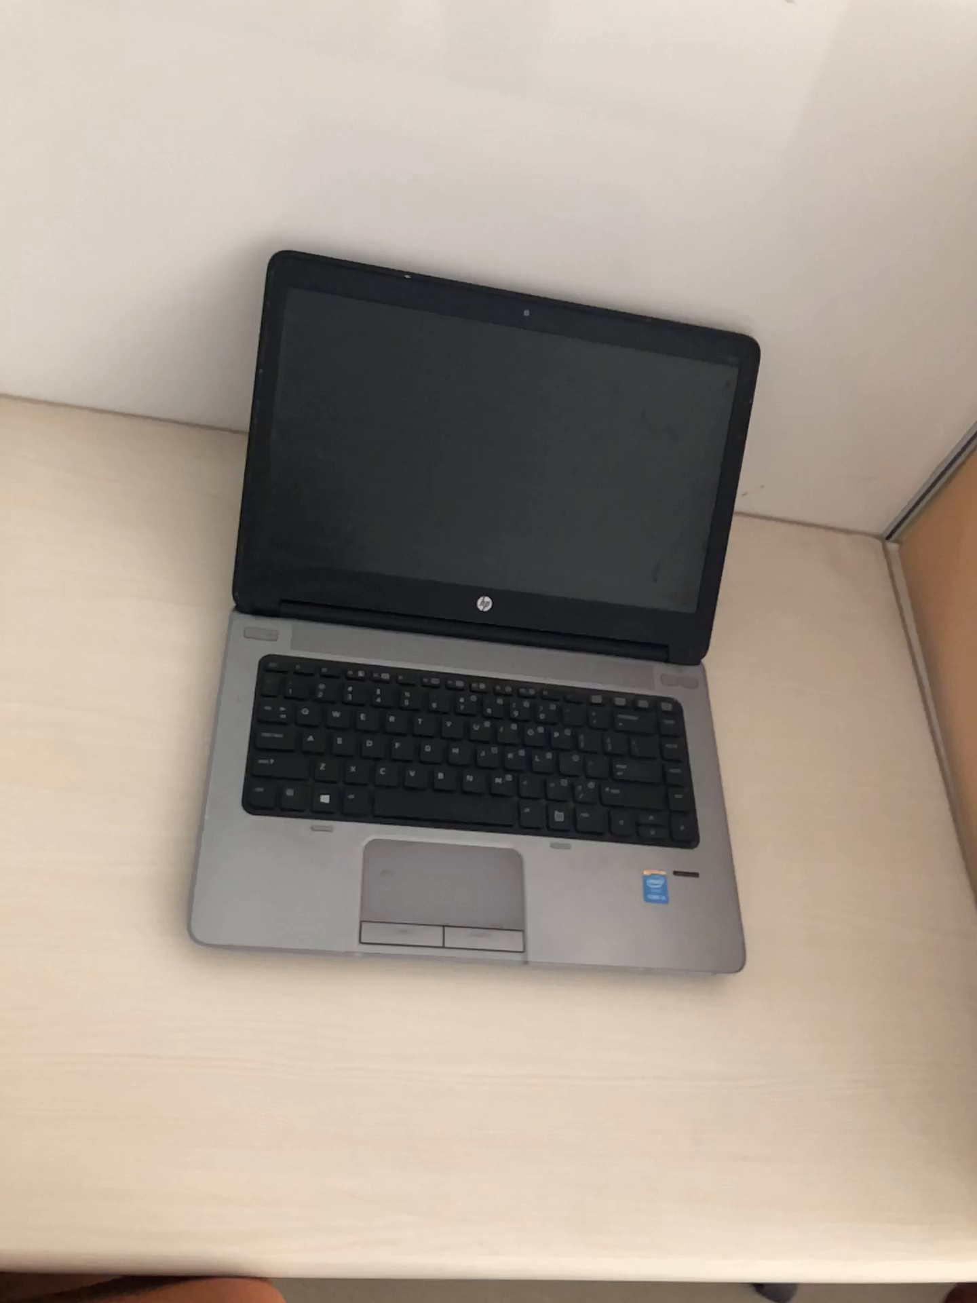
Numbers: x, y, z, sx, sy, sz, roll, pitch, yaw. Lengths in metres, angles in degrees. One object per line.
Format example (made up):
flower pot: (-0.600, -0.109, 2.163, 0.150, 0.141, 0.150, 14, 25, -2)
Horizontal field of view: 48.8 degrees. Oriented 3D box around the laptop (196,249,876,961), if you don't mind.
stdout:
laptop: (0.012, -0.032, 0.657, 0.322, 0.148, 0.379, 7, 56, -12)
